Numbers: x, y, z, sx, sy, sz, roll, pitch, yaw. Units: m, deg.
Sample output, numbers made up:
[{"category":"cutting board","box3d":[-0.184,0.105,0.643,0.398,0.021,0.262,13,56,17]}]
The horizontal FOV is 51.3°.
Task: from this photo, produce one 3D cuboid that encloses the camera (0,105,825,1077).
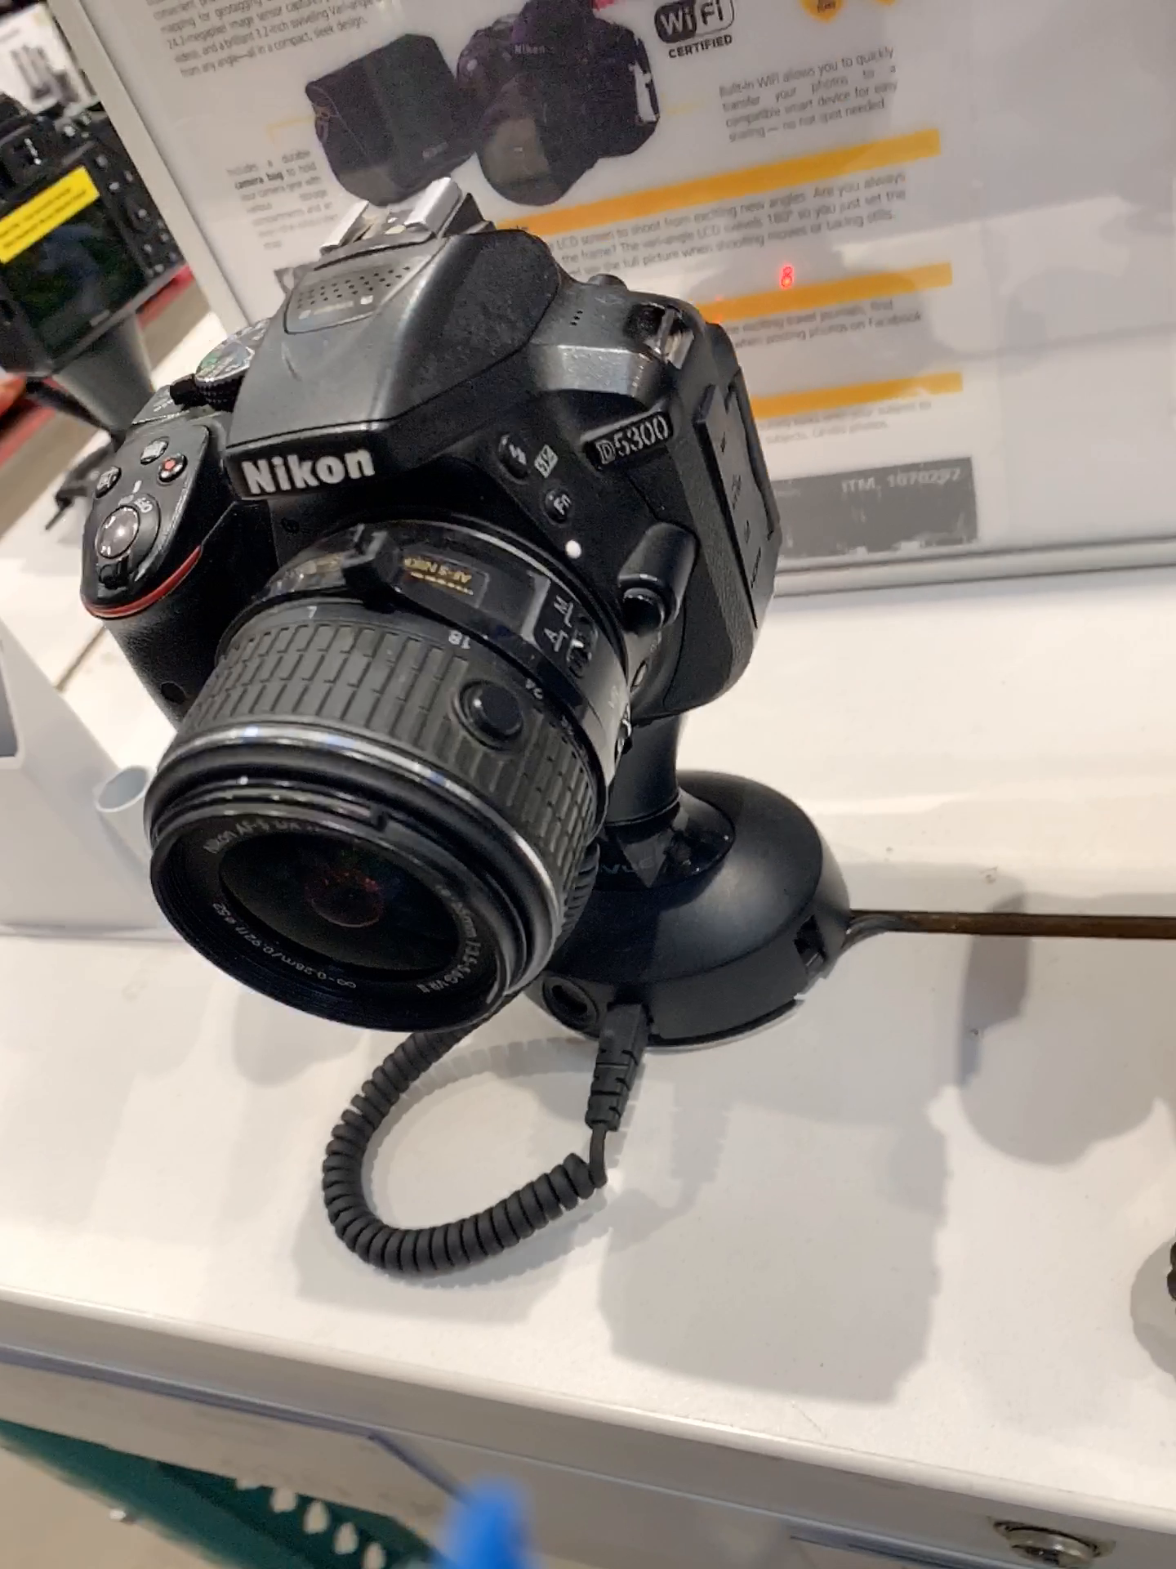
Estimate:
[{"category":"camera","box3d":[-0.031,-0.034,0.199,0.120,0.069,0.141,-4,44,20]}]
